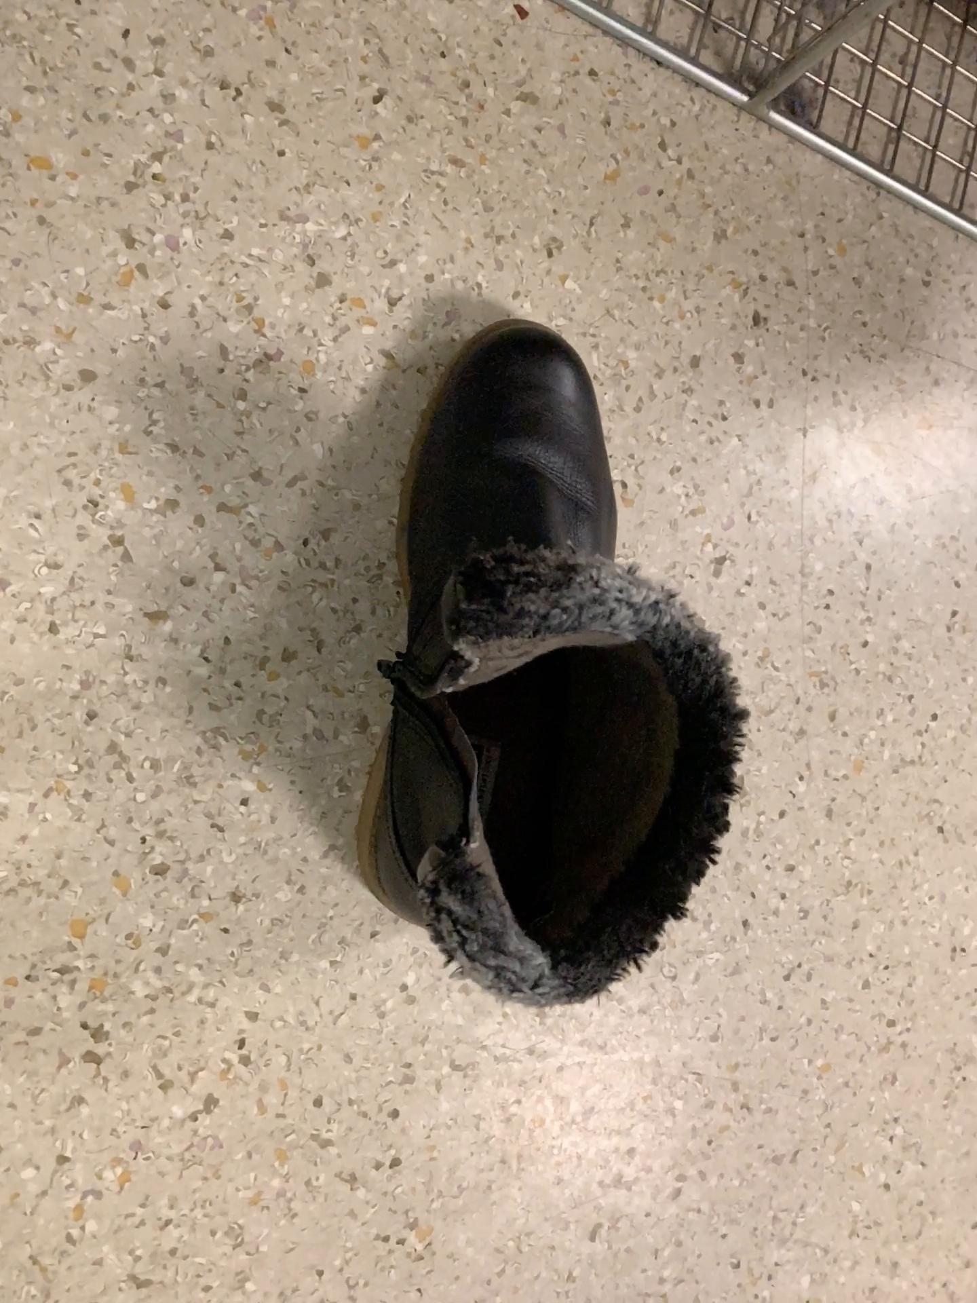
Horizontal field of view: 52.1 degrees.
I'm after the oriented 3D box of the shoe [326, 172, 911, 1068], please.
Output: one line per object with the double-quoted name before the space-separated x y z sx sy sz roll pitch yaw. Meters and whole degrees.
"shoe" 0.032 -0.004 0.359 0.104 0.169 0.237 11 86 -22
